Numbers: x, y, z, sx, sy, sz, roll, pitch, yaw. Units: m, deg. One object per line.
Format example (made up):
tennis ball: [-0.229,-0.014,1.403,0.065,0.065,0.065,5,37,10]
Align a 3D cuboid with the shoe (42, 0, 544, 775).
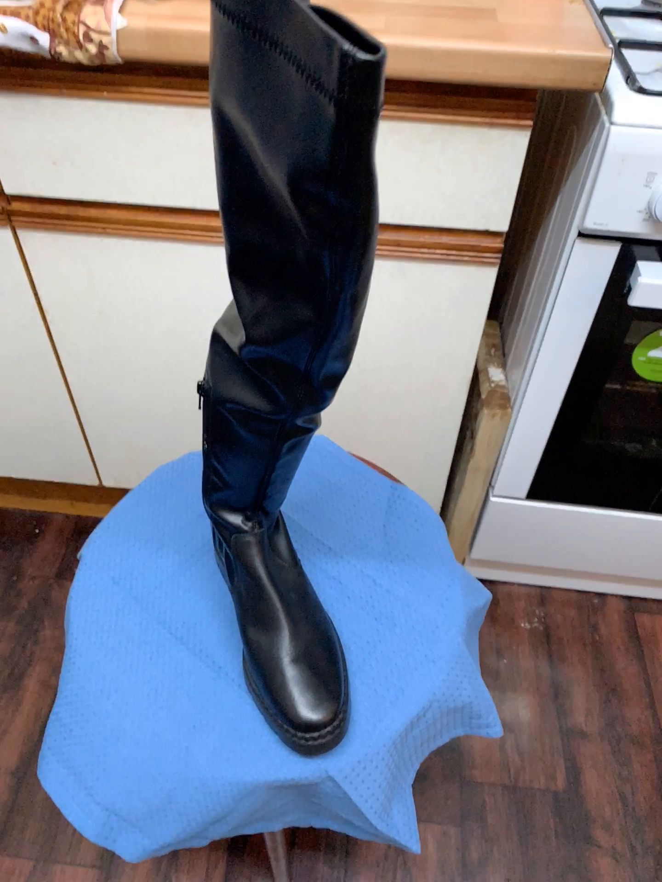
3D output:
shoe: [-0.047,-0.022,0.462,0.107,0.535,0.273,-17,48,-18]
